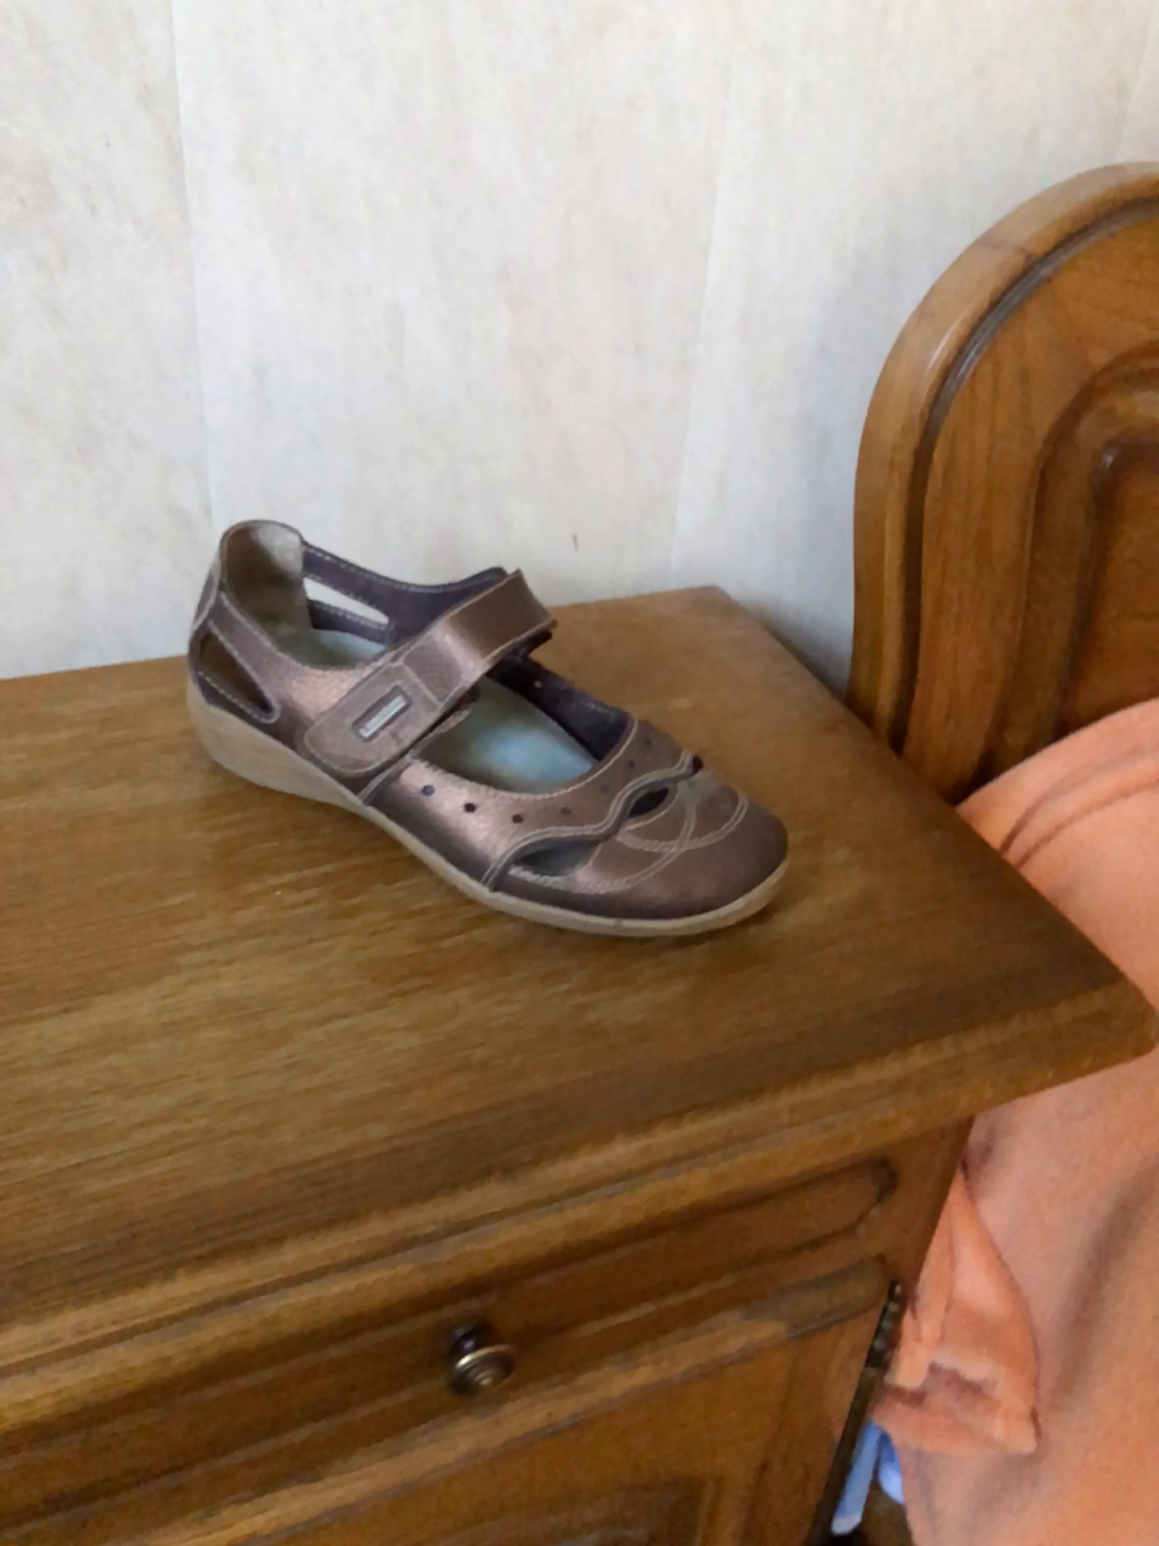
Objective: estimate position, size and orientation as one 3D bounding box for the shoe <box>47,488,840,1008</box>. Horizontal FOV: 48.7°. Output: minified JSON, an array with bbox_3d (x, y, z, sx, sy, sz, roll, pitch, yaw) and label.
[{"bbox_3d":[-0.050,-0.020,0.474,0.260,0.089,0.101,17,35,17],"label":"shoe"}]
